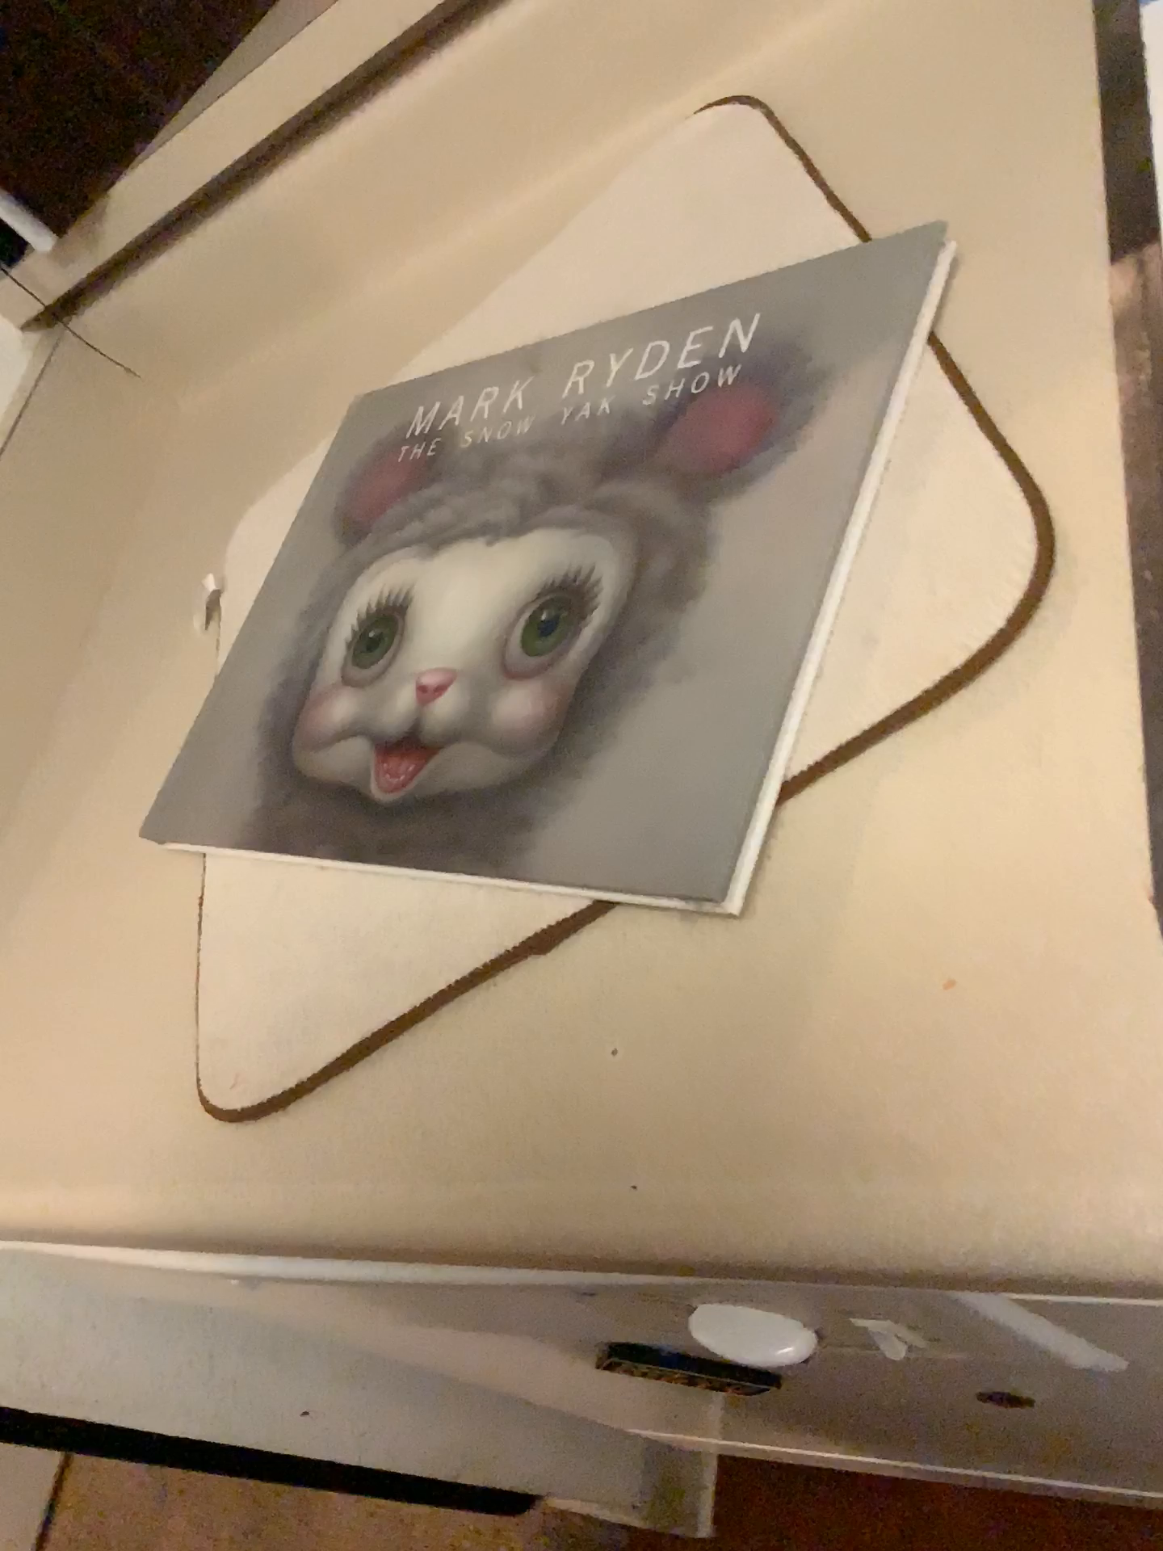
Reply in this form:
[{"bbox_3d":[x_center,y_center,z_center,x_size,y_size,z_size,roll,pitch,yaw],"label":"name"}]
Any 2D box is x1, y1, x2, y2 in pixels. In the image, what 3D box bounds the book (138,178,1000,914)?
[{"bbox_3d":[-0.032,-0.094,0.572,0.380,0.020,0.290,2,63,44],"label":"book"}]
